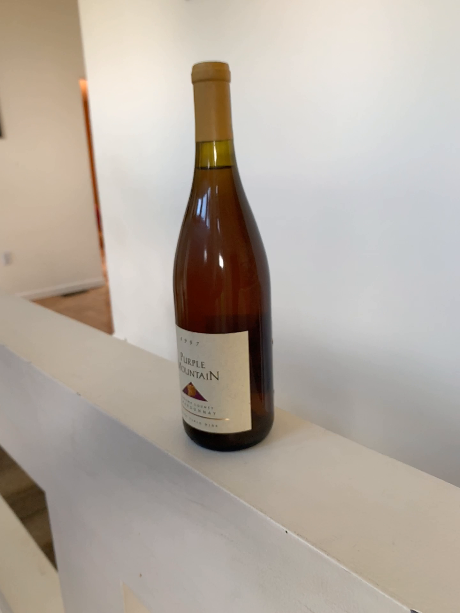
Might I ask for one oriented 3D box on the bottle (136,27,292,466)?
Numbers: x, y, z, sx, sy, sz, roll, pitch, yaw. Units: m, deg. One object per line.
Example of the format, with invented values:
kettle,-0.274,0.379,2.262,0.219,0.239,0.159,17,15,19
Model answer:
bottle,-0.006,-0.039,0.392,0.080,0.309,0.080,-2,15,1
